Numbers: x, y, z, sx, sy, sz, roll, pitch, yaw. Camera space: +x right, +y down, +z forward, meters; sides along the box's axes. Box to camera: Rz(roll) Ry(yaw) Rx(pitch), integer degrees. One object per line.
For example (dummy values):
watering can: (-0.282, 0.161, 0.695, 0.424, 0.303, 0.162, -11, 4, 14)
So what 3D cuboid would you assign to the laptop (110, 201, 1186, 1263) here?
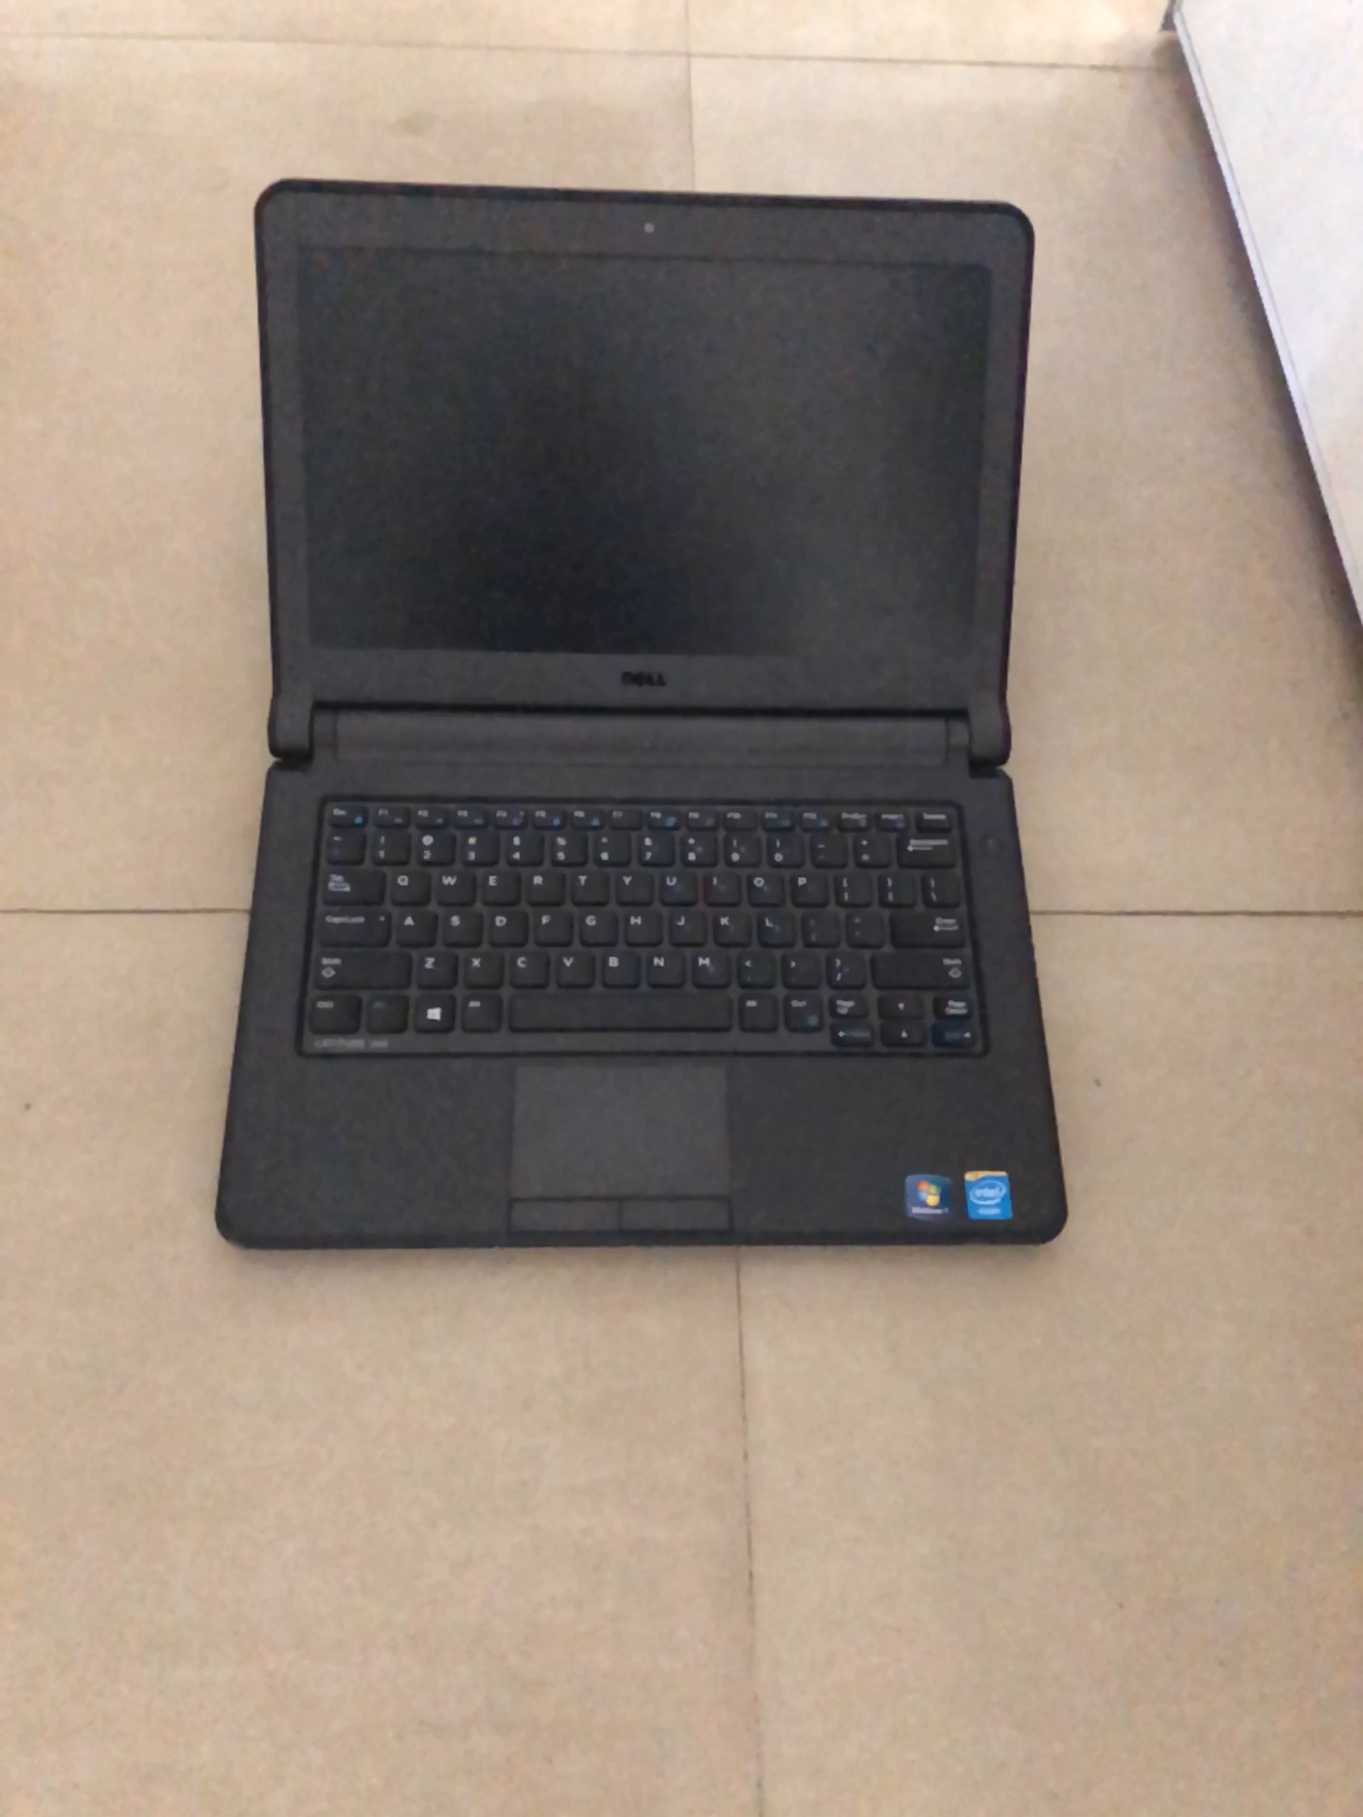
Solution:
laptop: (-0.012, -0.076, 0.593, 0.312, 0.154, 0.393, 1, 63, -2)
